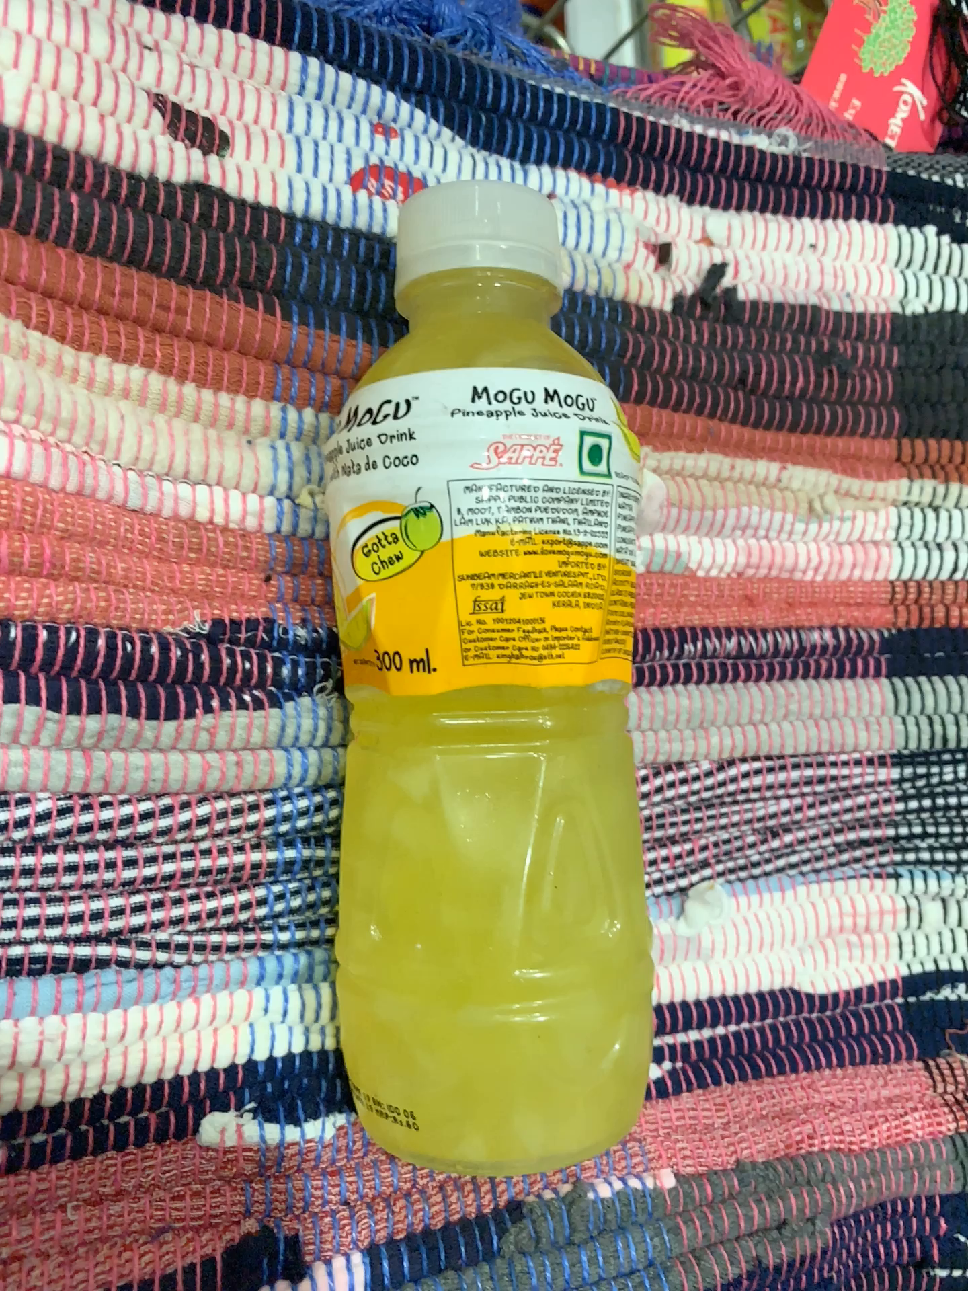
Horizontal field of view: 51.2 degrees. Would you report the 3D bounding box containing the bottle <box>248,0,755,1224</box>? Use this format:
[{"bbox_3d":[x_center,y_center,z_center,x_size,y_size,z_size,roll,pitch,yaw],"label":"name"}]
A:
[{"bbox_3d":[-0.001,-0.011,0.187,0.060,0.050,0.190,-2,83,-29],"label":"bottle"}]
